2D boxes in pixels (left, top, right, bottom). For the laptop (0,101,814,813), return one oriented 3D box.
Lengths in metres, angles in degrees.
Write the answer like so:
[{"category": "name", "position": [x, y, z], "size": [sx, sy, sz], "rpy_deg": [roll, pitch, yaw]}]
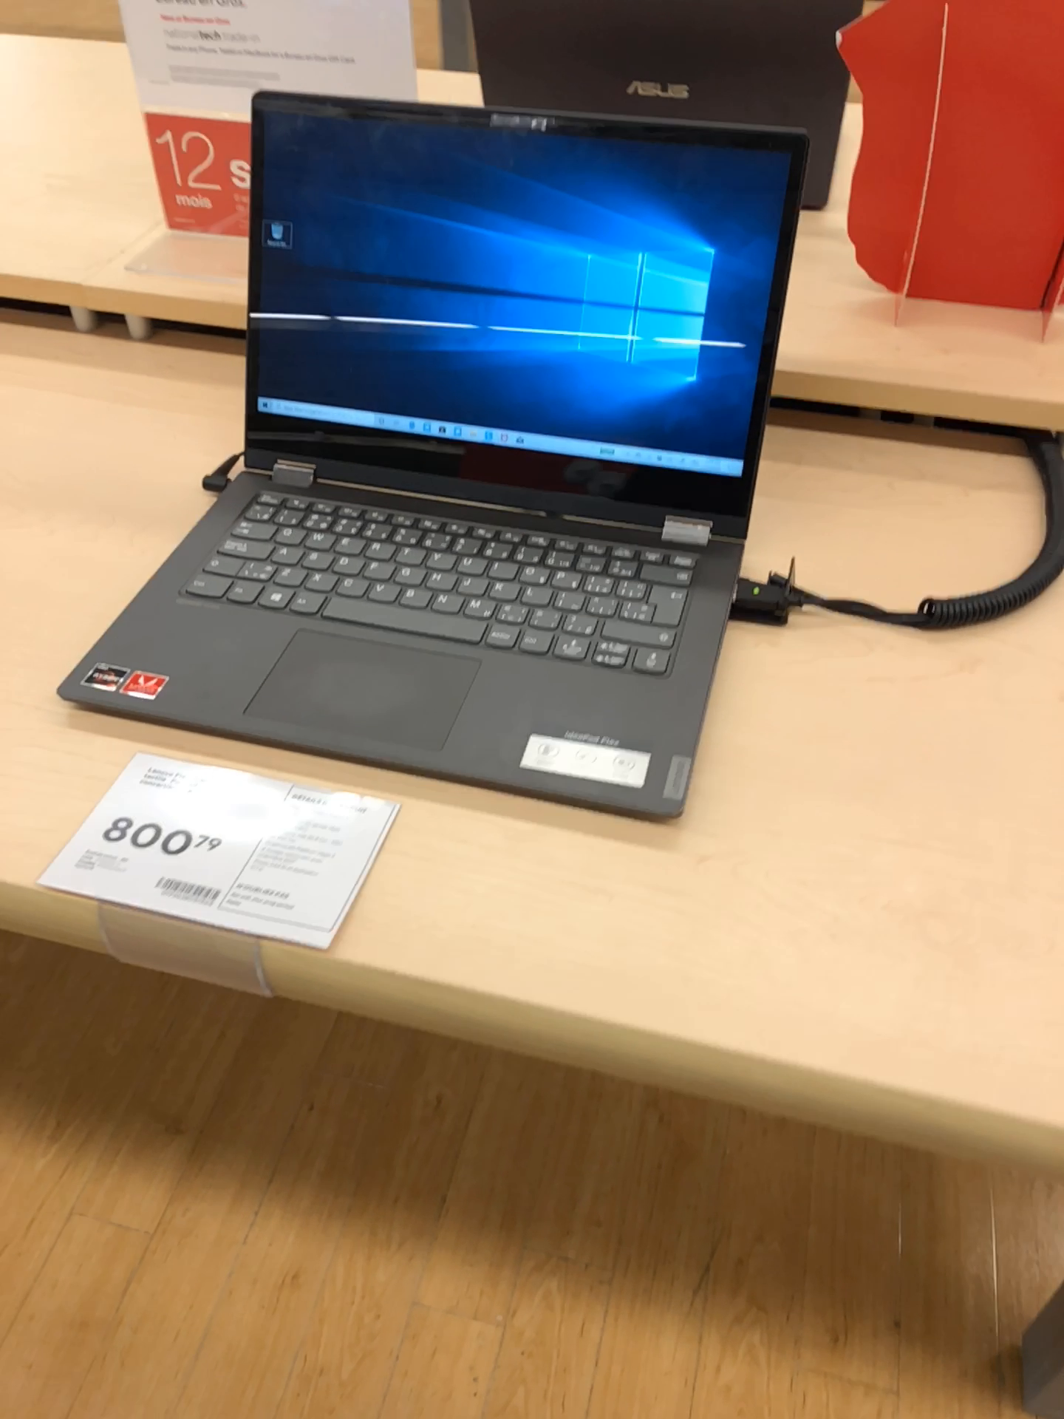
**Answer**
[{"category": "laptop", "position": [-0.046, -0.153, 0.610], "size": [0.319, 0.198, 0.307], "rpy_deg": [10, 44, 11]}]
